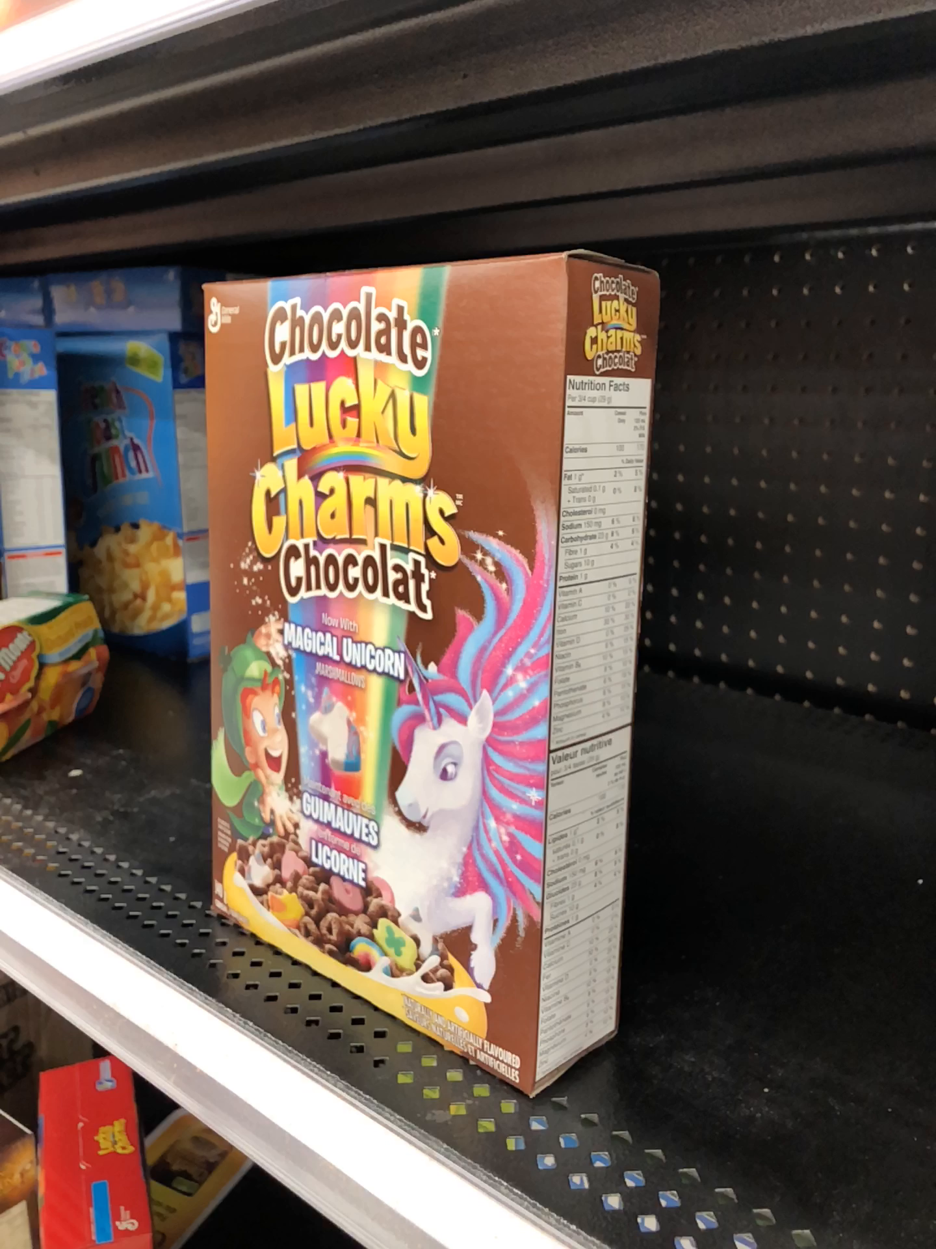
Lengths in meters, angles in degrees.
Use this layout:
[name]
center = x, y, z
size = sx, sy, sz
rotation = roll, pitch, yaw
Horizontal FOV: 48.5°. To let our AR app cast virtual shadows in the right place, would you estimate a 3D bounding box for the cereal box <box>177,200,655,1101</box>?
[cereal box]
center = -0.033, 0.001, 0.410
size = 0.200, 0.289, 0.050
rotation = 12, 16, 42
